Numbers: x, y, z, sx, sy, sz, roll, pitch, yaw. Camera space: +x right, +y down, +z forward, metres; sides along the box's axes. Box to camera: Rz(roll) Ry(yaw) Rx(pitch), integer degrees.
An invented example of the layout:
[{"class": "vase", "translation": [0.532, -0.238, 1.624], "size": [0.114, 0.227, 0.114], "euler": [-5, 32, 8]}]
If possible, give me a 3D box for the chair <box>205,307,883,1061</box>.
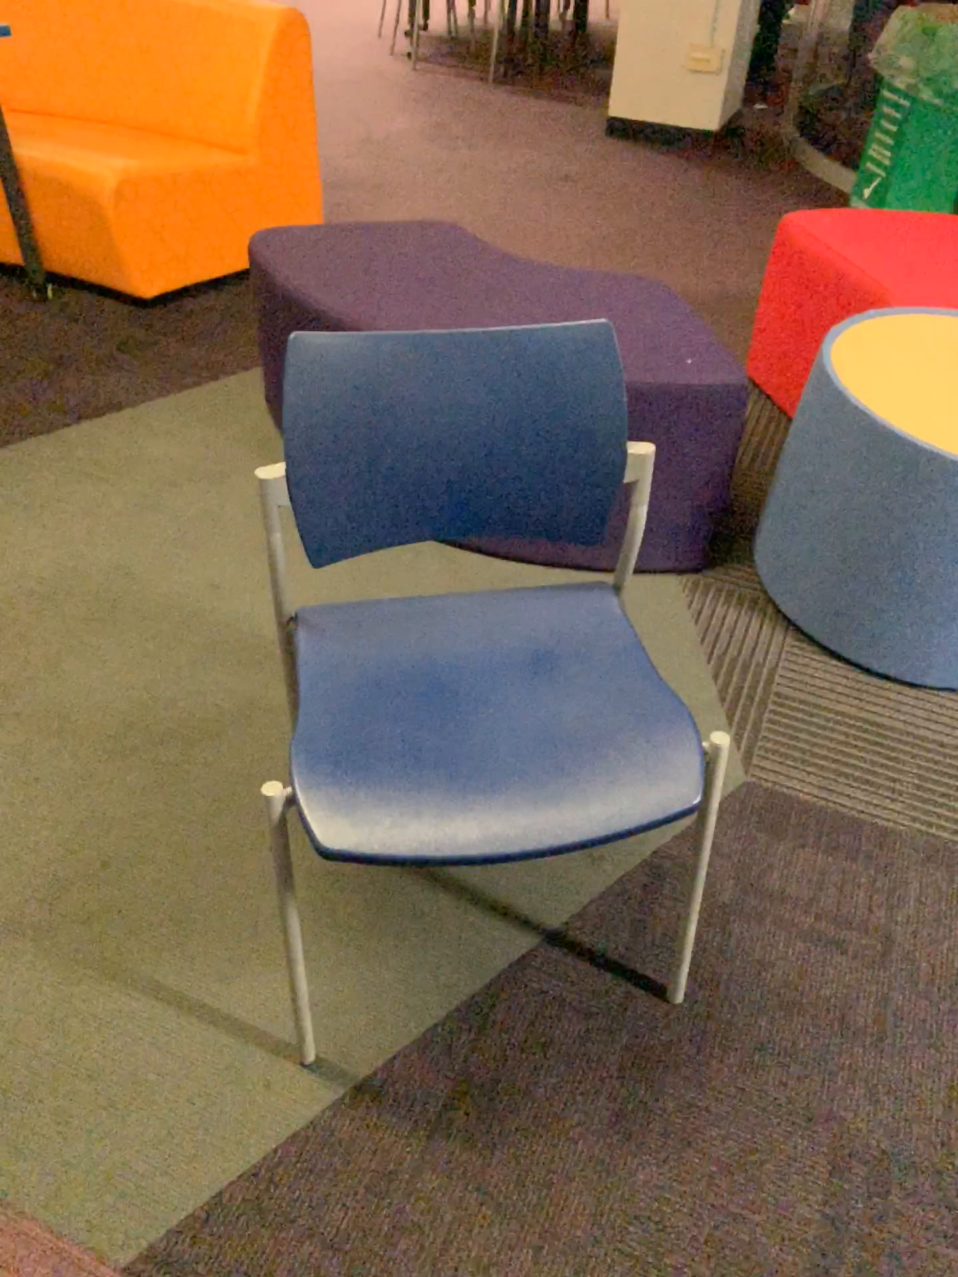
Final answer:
[{"class": "chair", "translation": [0.009, 0.049, 1.231], "size": [0.560, 0.693, 0.575], "euler": [-5, 42, -8]}]
